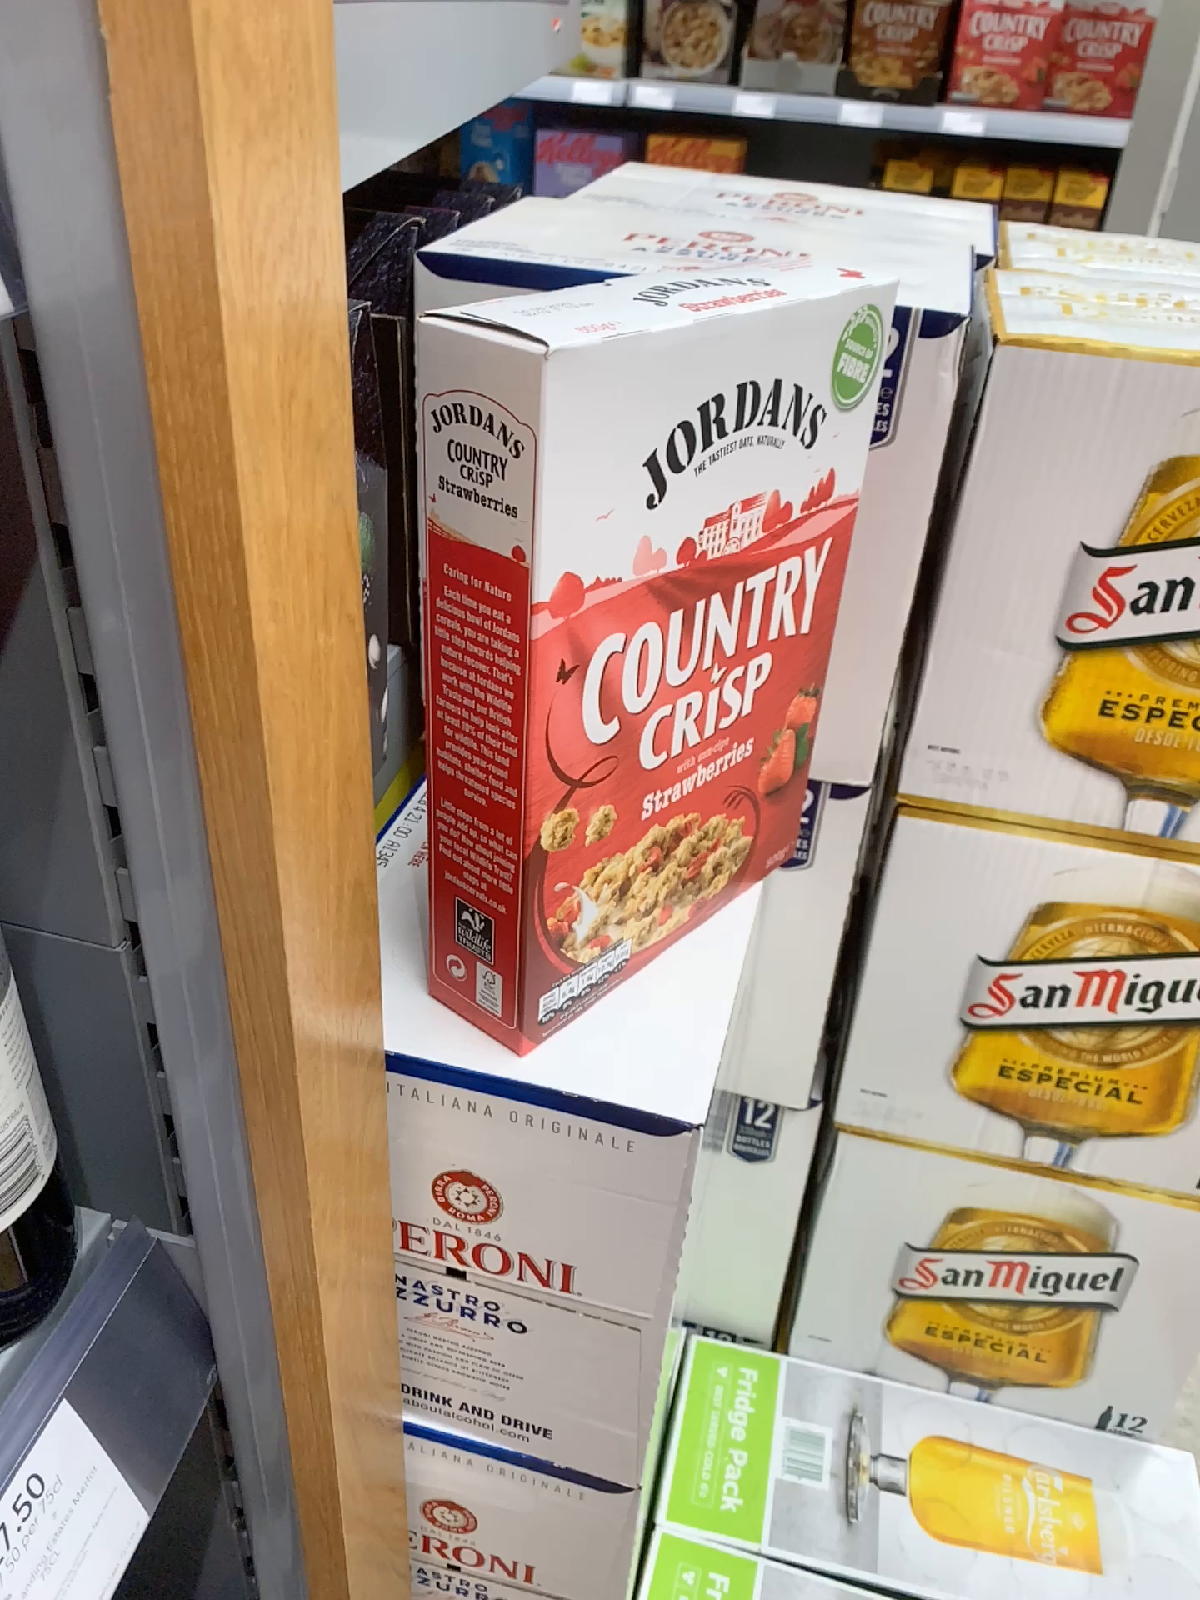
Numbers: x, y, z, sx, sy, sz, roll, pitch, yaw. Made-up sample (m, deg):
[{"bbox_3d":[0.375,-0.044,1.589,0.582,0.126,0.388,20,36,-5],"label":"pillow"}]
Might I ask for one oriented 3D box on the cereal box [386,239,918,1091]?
[{"bbox_3d":[0.019,-0.051,0.433,0.050,0.248,0.191,27,39,32],"label":"cereal box"}]
